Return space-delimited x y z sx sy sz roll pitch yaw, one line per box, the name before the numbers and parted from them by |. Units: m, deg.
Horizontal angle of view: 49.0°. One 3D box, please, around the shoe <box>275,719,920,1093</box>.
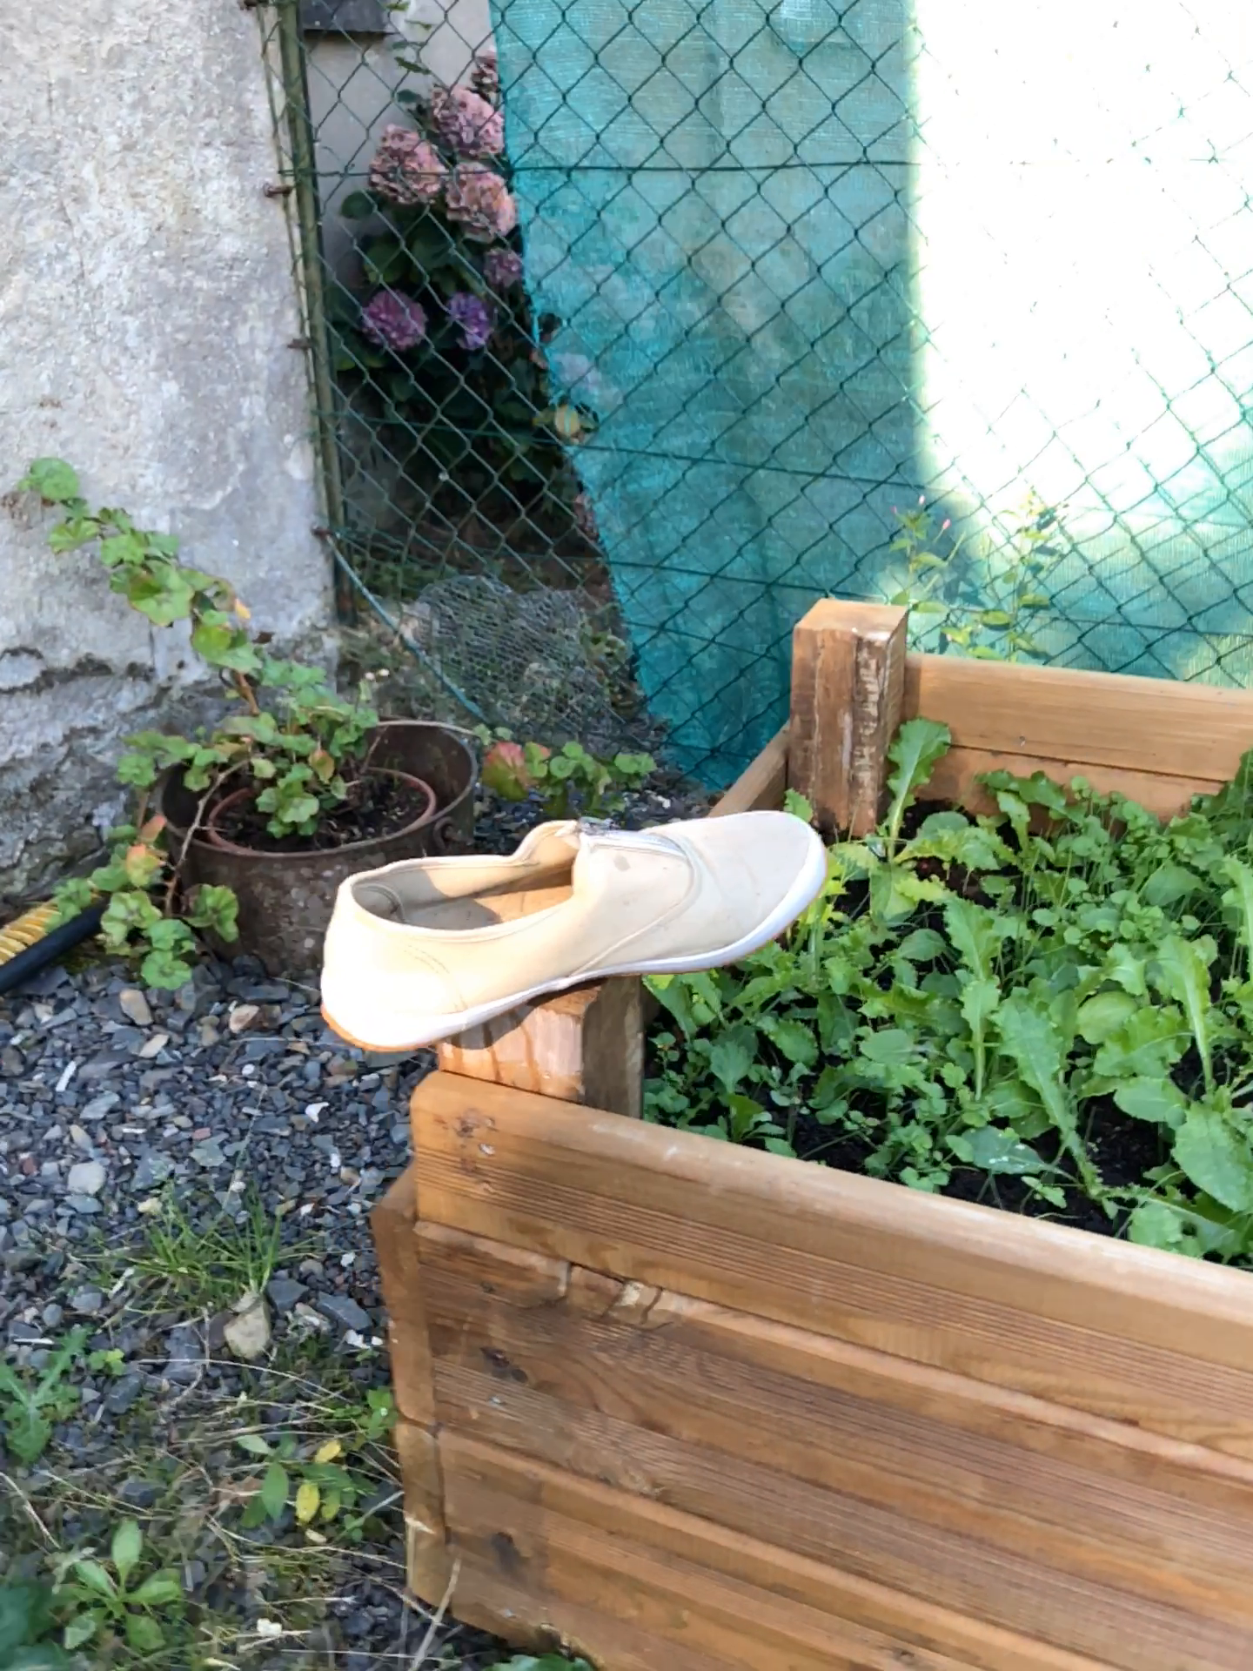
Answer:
shoe | -0.013 0.022 0.617 0.261 0.070 0.110 -12 29 -18
